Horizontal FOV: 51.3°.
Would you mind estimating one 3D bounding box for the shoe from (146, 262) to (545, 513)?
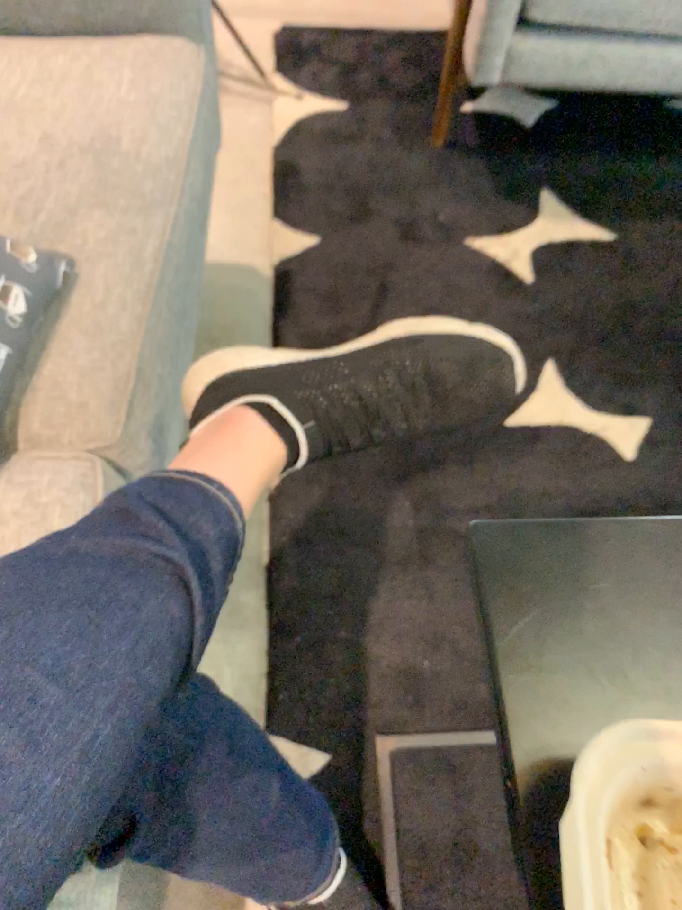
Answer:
[{"bbox_3d":[0.009,-0.053,0.570,0.276,0.112,0.133,-6,41,8],"label":"shoe"}]

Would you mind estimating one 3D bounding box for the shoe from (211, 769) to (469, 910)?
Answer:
[{"bbox_3d":[-0.010,0.521,0.780,0.116,0.074,0.304,-30,63,-21],"label":"shoe"}]
